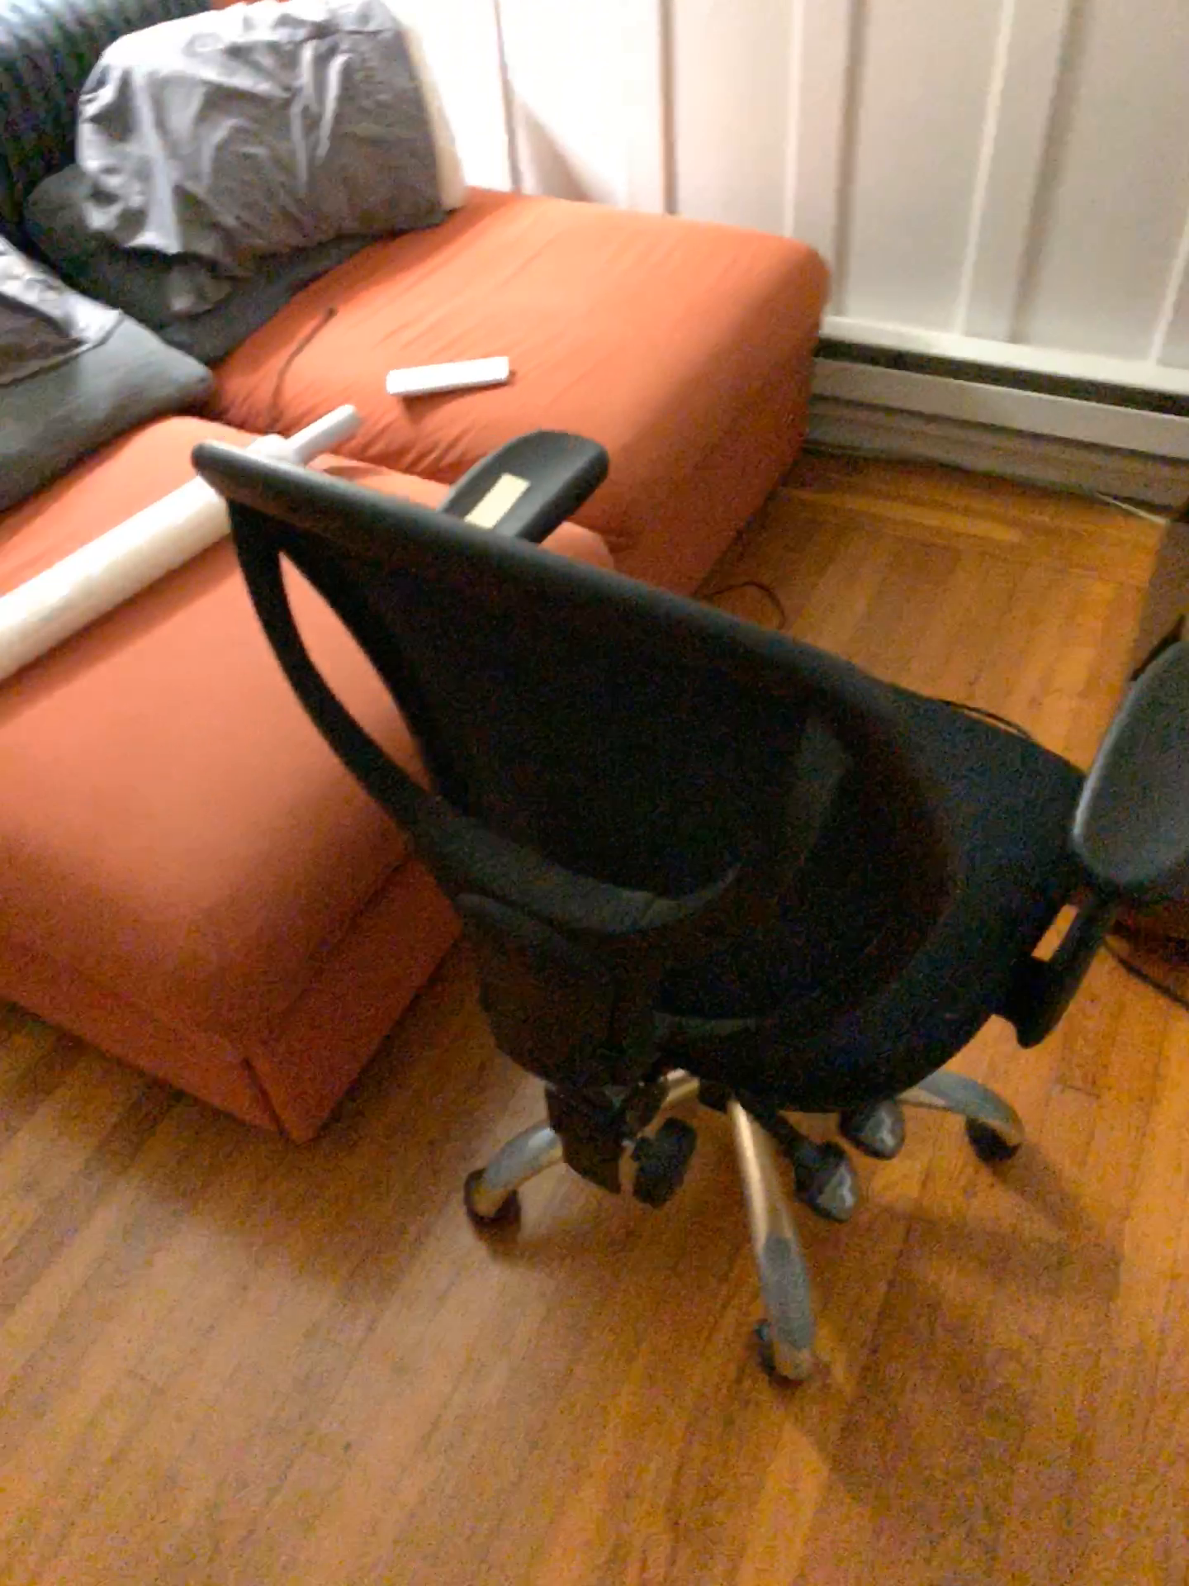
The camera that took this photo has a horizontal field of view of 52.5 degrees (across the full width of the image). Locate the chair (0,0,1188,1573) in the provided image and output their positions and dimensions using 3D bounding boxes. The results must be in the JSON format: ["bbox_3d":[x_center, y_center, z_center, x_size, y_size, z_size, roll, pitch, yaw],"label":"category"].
[{"bbox_3d":[0.063,0.024,0.991,0.642,0.974,0.661,29,59,28],"label":"chair"}]
